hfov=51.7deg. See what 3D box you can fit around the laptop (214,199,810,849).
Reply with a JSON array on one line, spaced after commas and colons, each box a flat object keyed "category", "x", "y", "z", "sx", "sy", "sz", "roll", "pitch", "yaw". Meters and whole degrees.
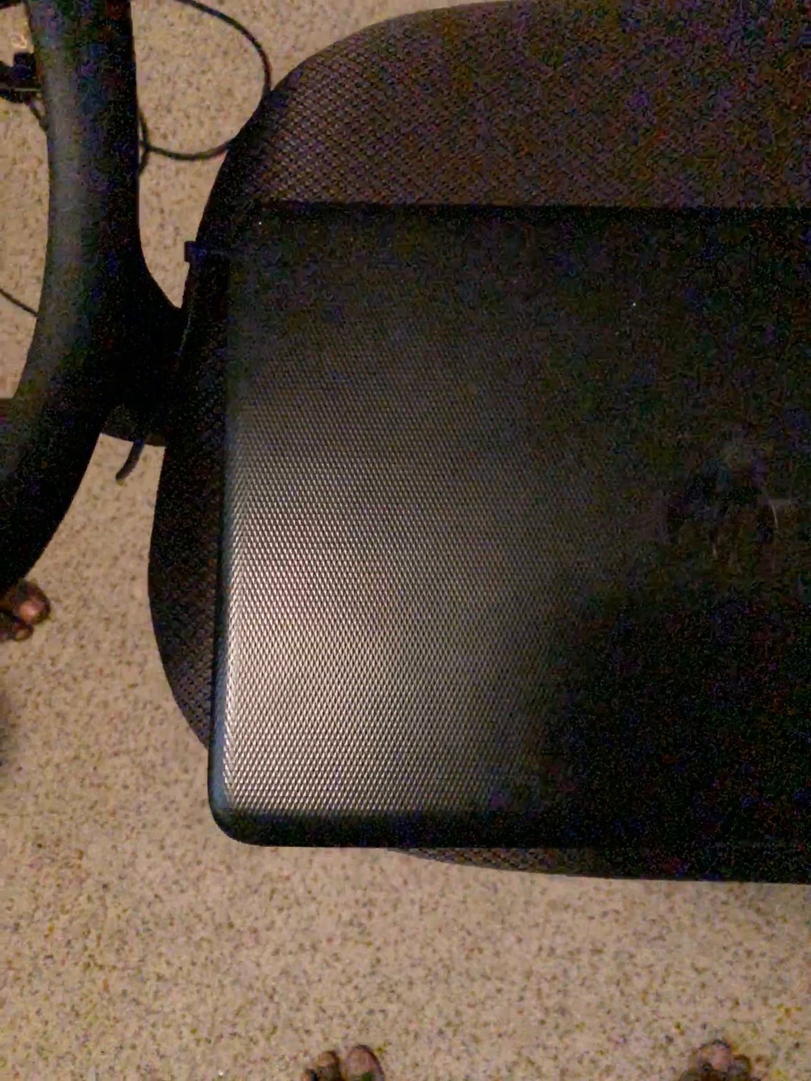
[{"category": "laptop", "x": 0.121, "y": -0.008, "z": 0.336, "sx": 0.378, "sy": 0.018, "sz": 0.245, "roll": 1, "pitch": 84, "yaw": -5}]
